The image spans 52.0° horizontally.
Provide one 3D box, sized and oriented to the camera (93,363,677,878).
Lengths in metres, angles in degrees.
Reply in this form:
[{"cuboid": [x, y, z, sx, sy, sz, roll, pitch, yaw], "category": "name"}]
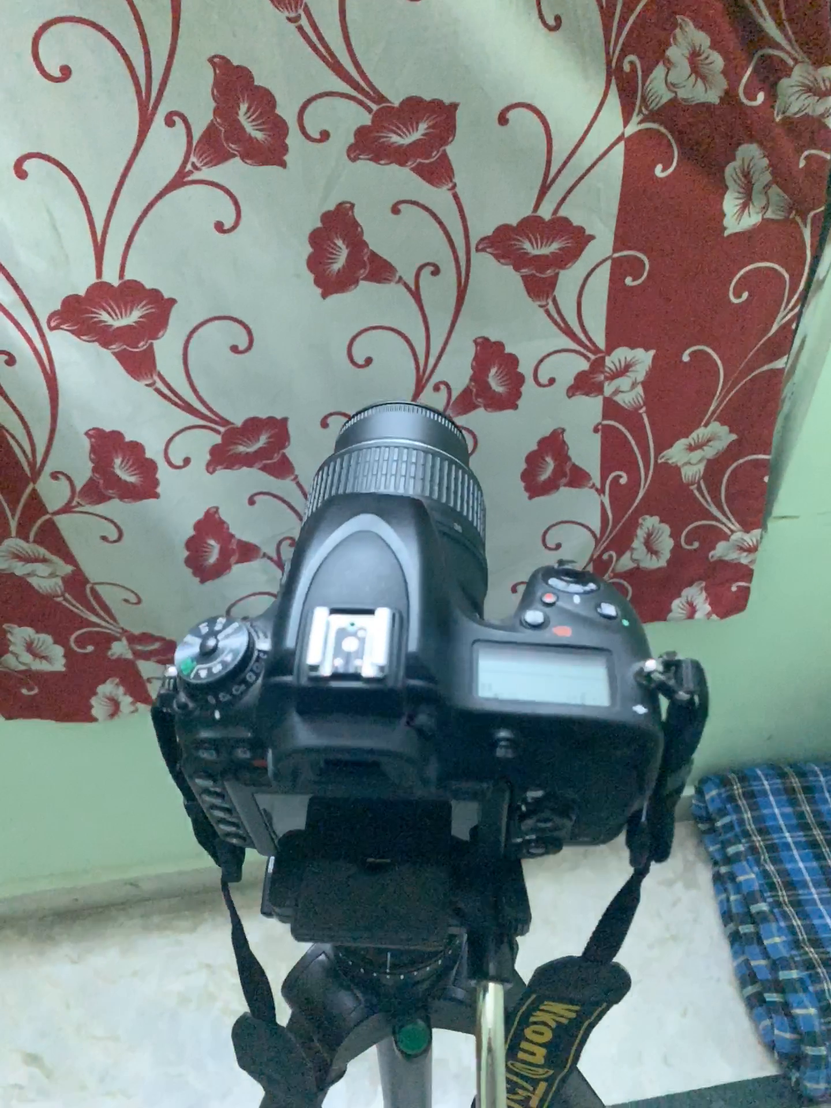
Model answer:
[{"cuboid": [-0.005, 0.019, 0.288, 0.139, 0.112, 0.130, 1, 43, 2], "category": "camera"}]
